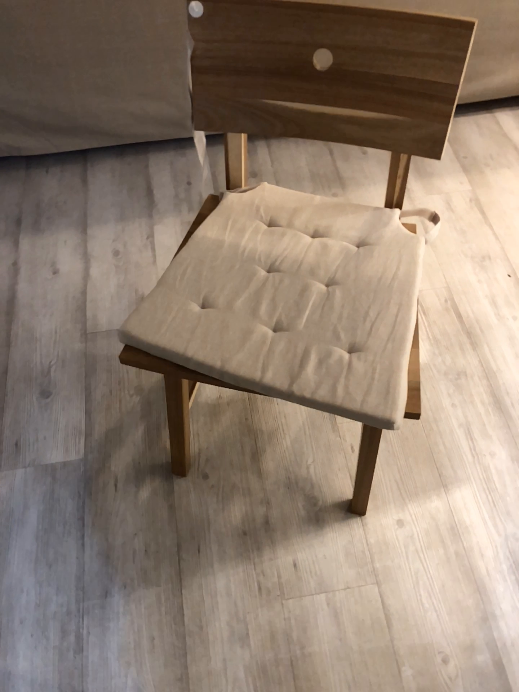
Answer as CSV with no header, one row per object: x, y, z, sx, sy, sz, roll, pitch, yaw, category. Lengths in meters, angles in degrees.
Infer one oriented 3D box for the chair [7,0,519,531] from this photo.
0.070,-0.106,0.890,0.500,0.599,0.531,10,58,7,chair
